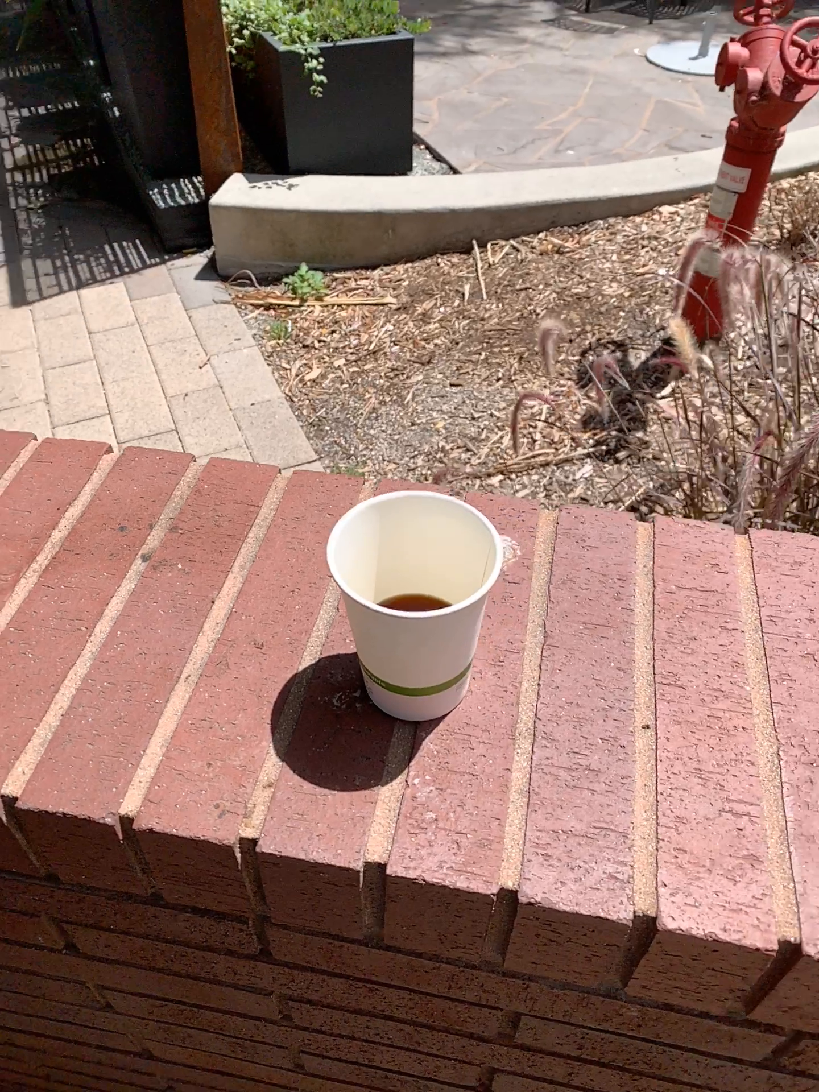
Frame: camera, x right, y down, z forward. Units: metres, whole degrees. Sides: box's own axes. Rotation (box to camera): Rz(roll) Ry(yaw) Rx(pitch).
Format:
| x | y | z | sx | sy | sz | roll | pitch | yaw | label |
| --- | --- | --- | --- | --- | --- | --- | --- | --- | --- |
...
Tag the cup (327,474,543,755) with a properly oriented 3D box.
| x | y | z | sx | sy | sz | roll | pitch | yaw | label |
| --- | --- | --- | --- | --- | --- | --- | --- | --- | --- |
| 0.009 | 0.037 | 0.453 | 0.090 | 0.109 | 0.090 | 0 | 45 | 0 | cup |
